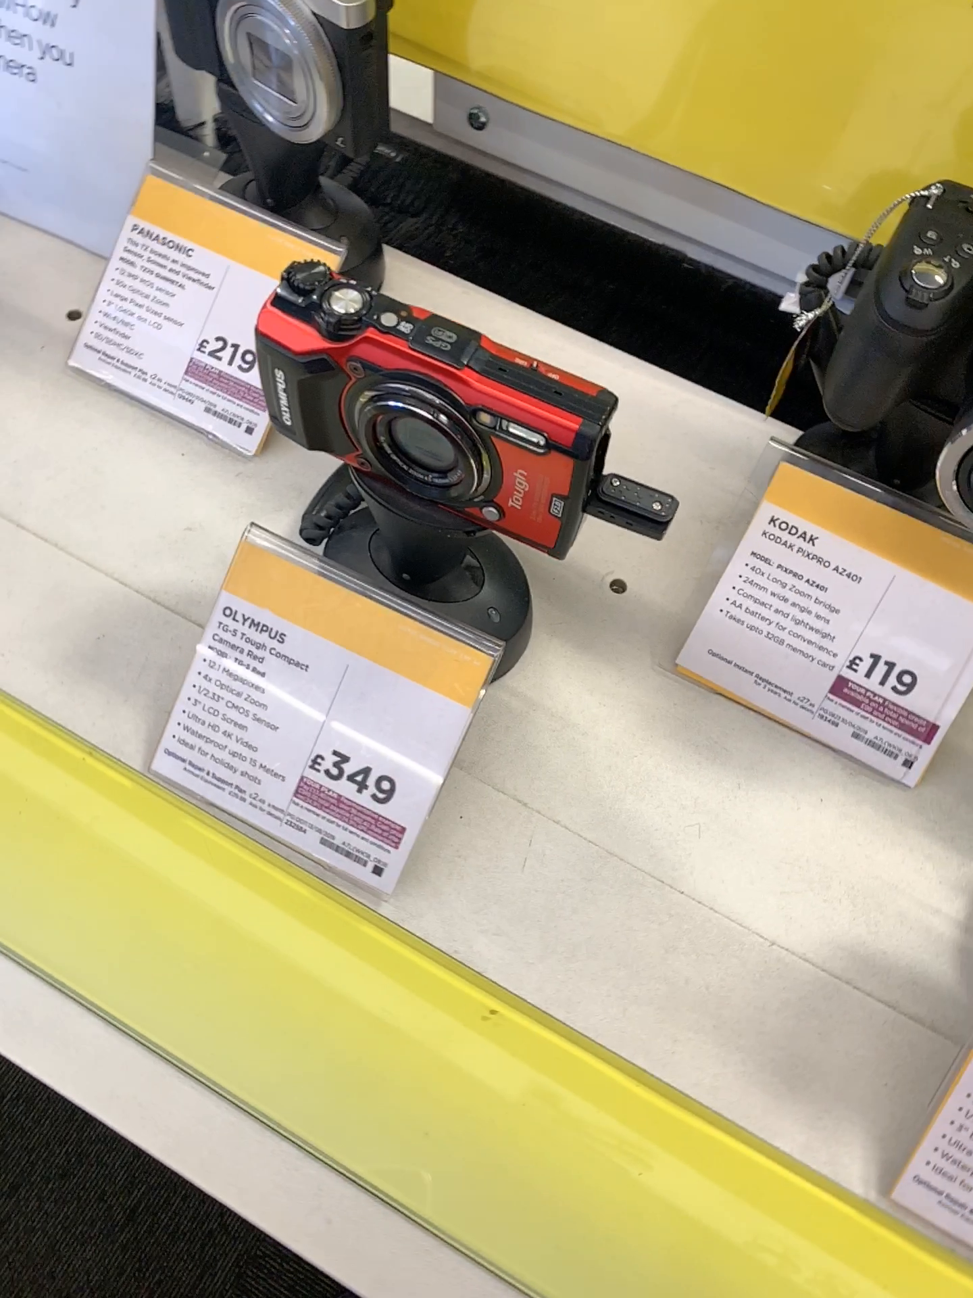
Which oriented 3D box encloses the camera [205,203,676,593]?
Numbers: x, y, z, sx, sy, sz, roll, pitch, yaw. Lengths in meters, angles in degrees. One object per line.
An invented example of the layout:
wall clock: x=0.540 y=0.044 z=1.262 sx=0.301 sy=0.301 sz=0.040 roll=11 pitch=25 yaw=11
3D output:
camera: x=-0.014 y=-0.072 z=0.291 sx=0.120 sy=0.060 sz=0.040 roll=25 pitch=64 yaw=9
